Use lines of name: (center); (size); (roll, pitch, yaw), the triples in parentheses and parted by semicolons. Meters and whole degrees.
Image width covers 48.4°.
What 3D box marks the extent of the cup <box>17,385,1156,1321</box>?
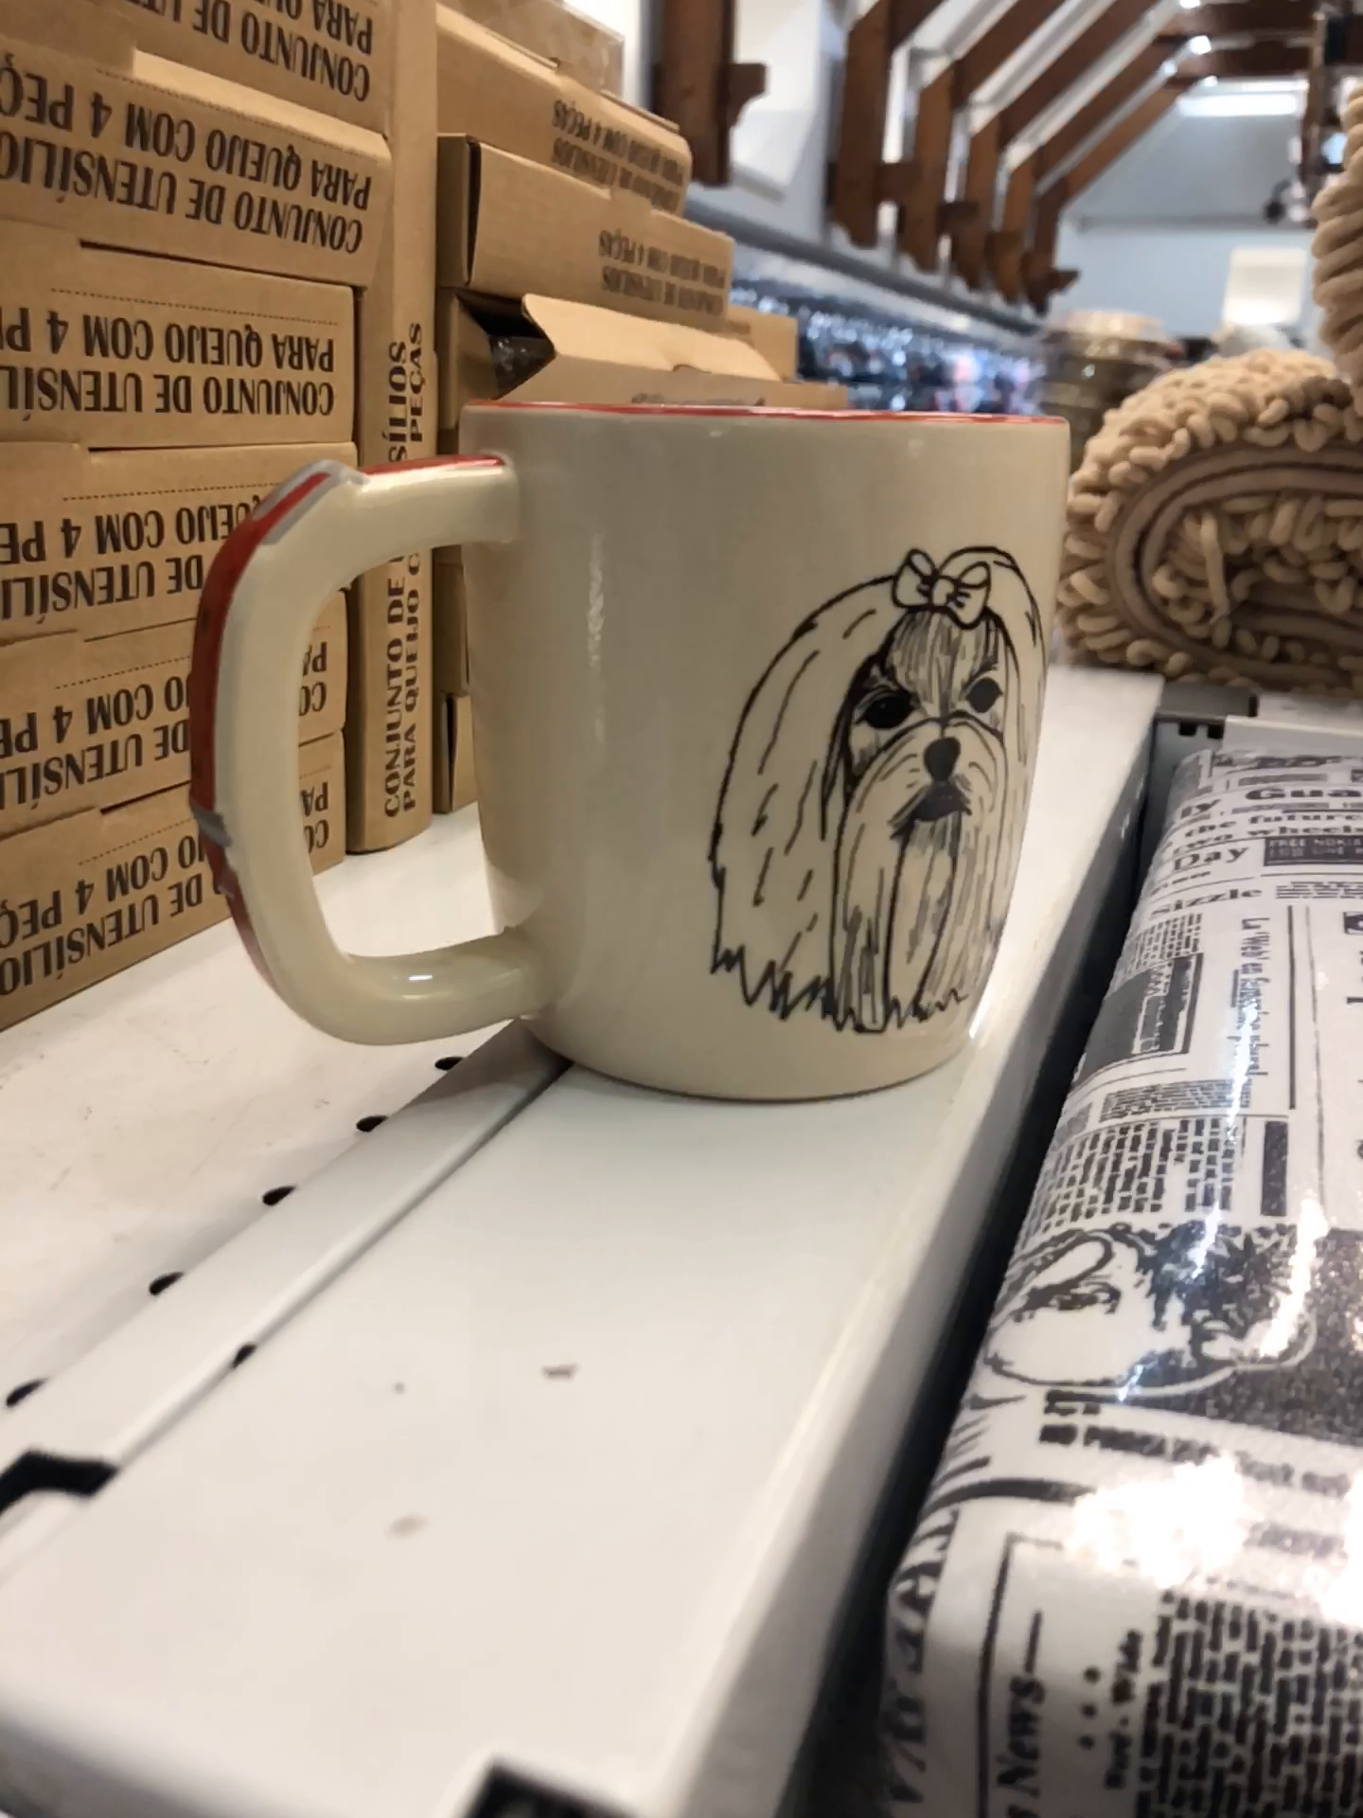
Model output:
cup: (-0.010, -0.024, 0.213); (0.090, 0.089, 0.120); (19, 25, 41)
